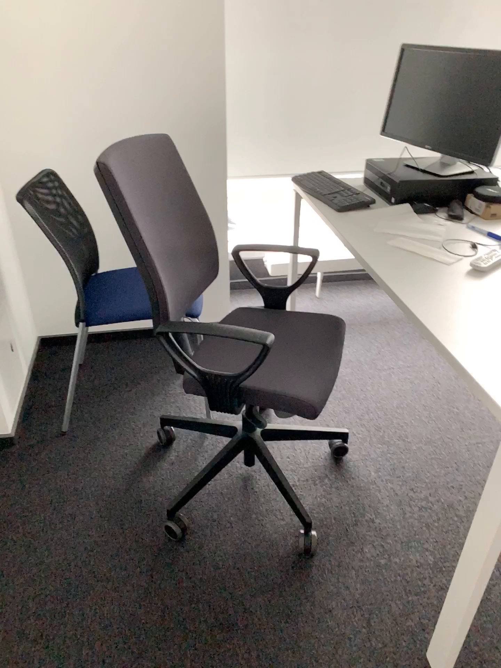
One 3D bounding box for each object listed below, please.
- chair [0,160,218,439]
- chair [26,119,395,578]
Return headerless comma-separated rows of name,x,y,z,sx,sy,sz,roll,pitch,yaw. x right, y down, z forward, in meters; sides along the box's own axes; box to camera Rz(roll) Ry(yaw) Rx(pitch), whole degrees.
chair,-0.457,-0.160,1.930,0.610,0.805,0.674,-3,31,-6
chair,-0.023,-0.004,1.458,0.680,1.004,0.694,8,32,12
